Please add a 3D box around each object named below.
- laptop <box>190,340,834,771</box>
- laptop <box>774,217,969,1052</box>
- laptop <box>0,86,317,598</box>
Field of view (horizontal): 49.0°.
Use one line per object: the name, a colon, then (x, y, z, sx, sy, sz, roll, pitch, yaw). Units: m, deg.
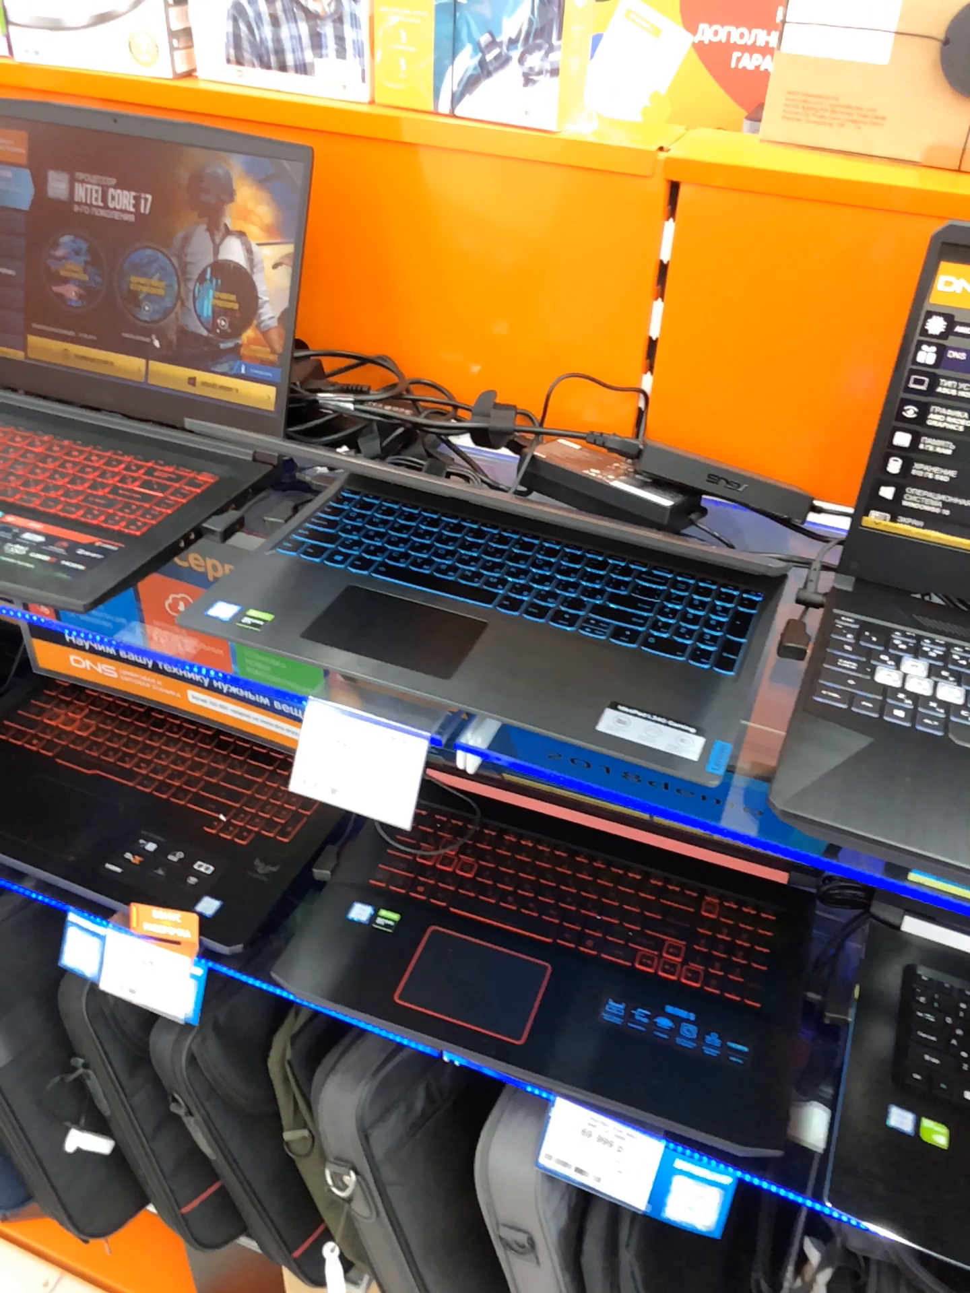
laptop: (0.026, -0.084, 0.710, 0.348, 0.117, 0.242, 15, 36, 18)
laptop: (0.401, -0.042, 0.562, 0.384, 0.250, 0.278, 16, 36, 18)
laptop: (-0.364, -0.261, 0.818, 0.348, 0.228, 0.326, 16, 36, 15)
